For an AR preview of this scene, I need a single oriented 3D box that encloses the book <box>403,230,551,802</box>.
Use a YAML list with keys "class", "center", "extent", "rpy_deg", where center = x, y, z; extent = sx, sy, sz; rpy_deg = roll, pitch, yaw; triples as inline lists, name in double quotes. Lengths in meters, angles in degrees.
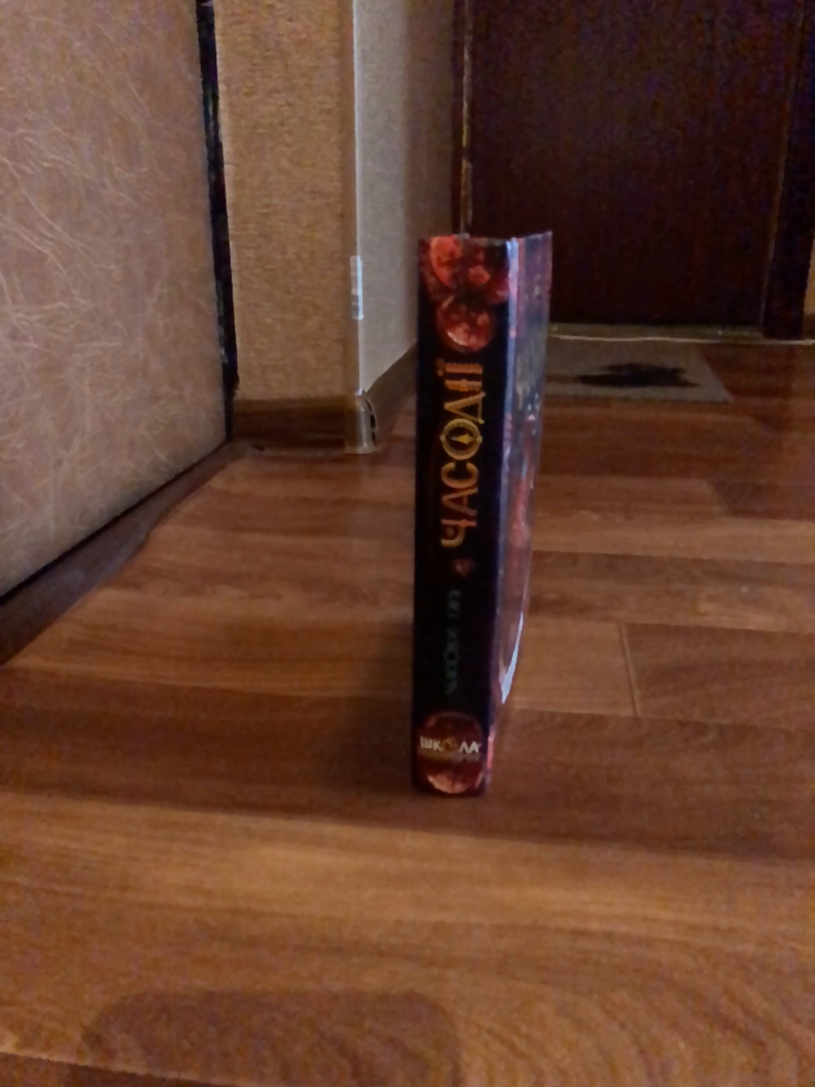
- class: "book"
  center: [0.035, -0.028, 0.412]
  extent: [0.040, 0.220, 0.171]
  rpy_deg: [4, 19, 11]
